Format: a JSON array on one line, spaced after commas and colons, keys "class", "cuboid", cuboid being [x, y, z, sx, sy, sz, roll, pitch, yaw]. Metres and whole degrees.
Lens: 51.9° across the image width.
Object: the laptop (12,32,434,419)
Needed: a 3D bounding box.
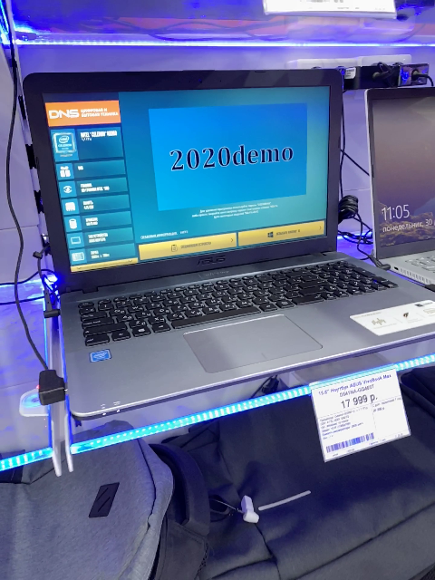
[{"class": "laptop", "cuboid": [0.030, -0.095, 0.437, 0.372, 0.232, 0.263, -10, 22, -18]}]
